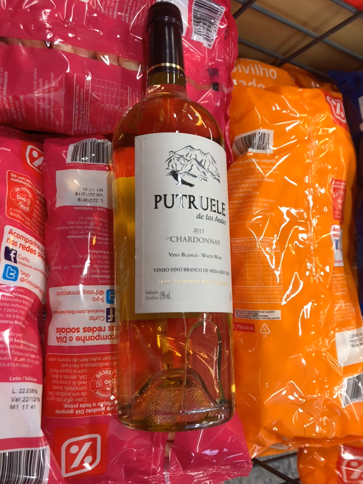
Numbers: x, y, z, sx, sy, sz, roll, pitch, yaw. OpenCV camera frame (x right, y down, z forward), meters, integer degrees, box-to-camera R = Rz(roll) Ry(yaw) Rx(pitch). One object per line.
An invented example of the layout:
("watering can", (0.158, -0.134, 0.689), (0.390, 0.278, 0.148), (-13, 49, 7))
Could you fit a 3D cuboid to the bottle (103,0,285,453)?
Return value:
("bottle", (-0.002, -0.039, 0.268), (0.080, 0.070, 0.300), (5, 74, -30))
